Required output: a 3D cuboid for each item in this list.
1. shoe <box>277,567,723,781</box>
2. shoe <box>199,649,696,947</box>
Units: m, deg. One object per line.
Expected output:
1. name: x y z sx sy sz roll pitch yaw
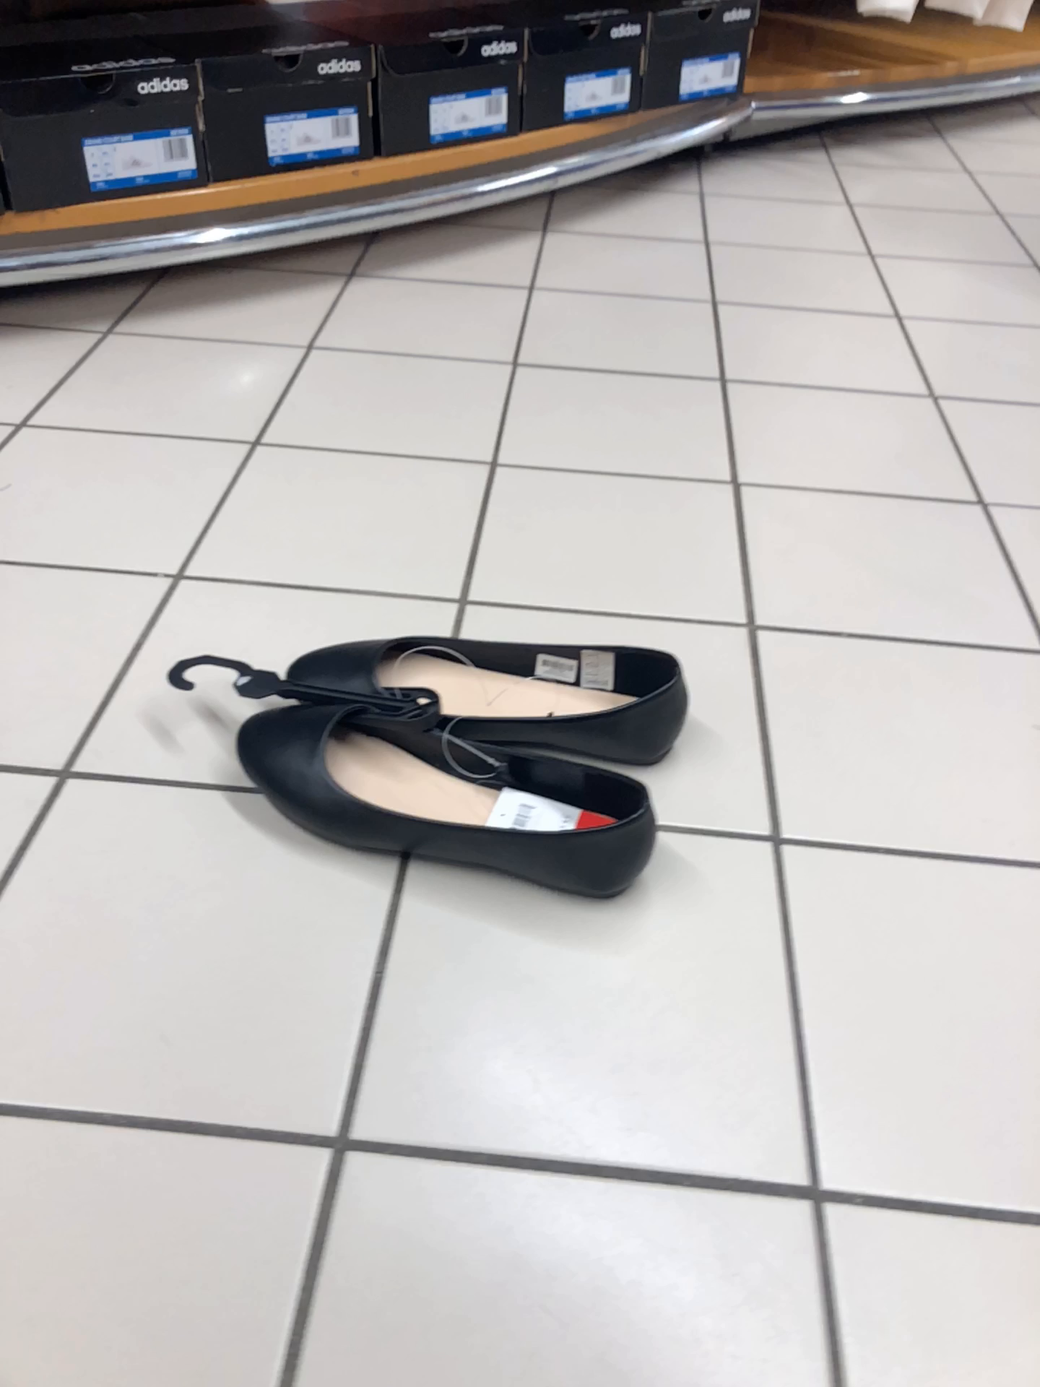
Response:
1. shoe: -0.009 -0.014 0.686 0.250 0.060 0.081 8 39 5
2. shoe: -0.039 0.051 0.621 0.250 0.060 0.081 15 41 14
